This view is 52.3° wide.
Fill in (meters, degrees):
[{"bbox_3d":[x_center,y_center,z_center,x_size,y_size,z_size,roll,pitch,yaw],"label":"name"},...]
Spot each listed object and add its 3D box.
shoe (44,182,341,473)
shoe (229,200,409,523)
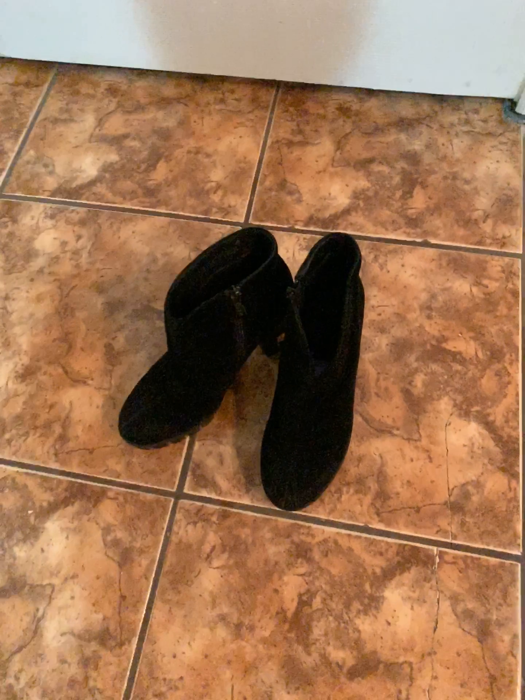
[{"bbox_3d":[-0.048,-0.011,0.512,0.229,0.180,0.094,-37,68,-13],"label":"shoe"},{"bbox_3d":[0.056,0.019,0.491,0.094,0.180,0.230,11,66,9],"label":"shoe"}]
